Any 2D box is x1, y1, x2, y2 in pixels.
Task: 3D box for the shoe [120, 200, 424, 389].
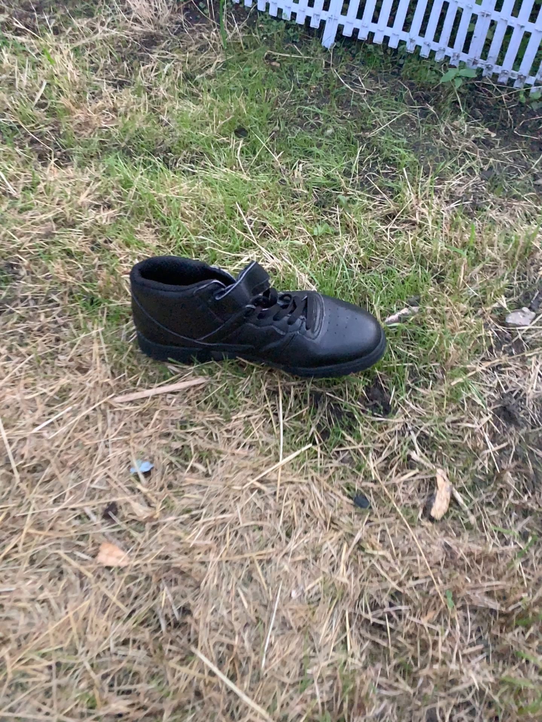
[{"bbox_3d":[0.001,-0.063,0.554,0.260,0.139,0.101,5,53,0],"label":"shoe"}]
